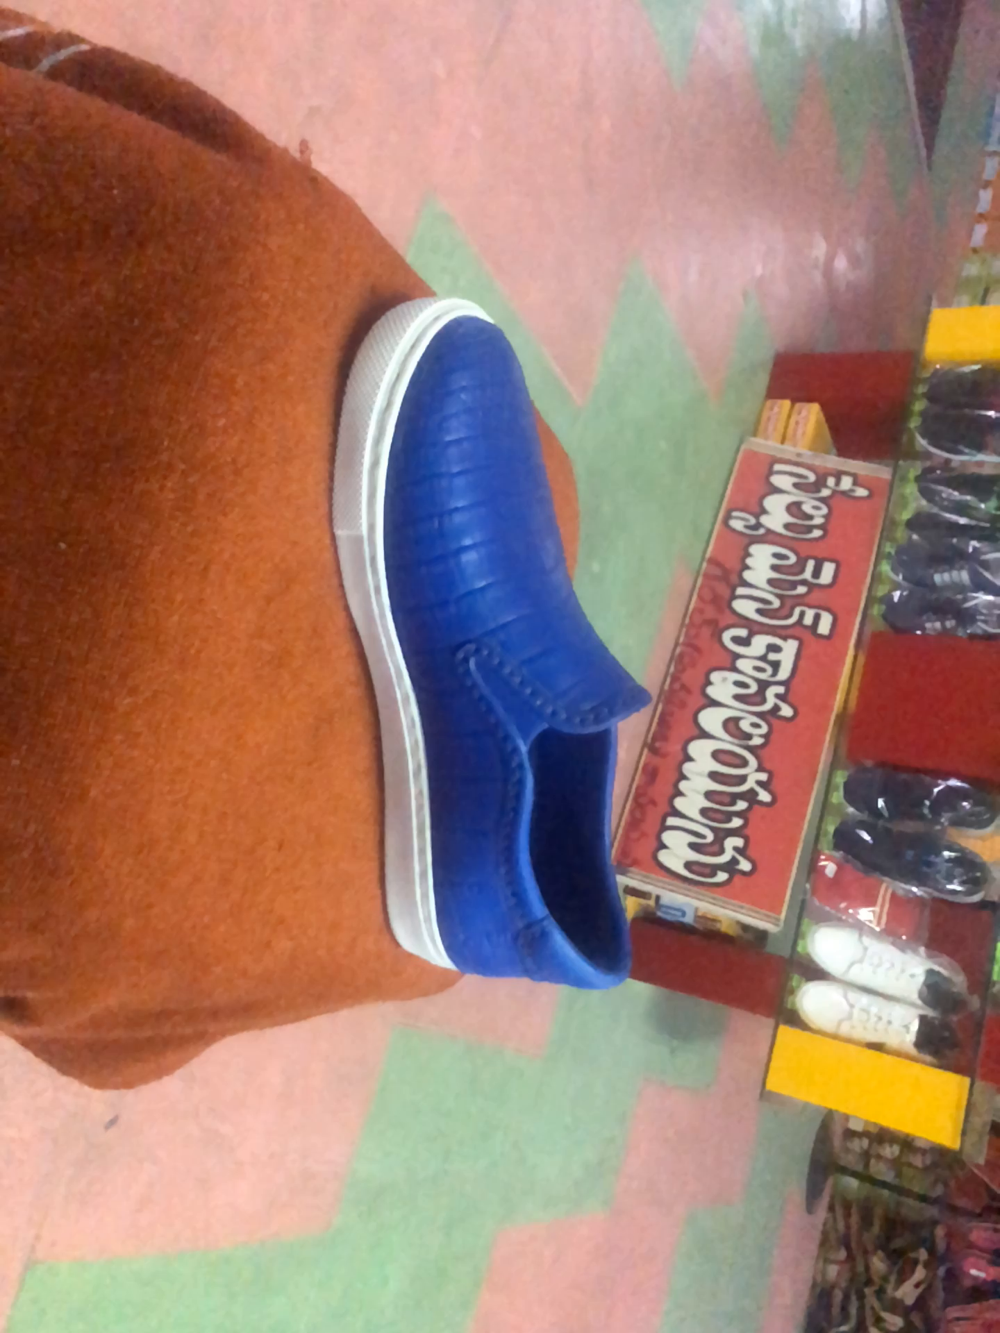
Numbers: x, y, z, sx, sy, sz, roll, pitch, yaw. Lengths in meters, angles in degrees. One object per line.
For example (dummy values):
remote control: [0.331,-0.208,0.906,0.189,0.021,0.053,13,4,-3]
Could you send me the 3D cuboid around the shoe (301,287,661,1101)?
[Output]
shoe: [0.003,0.006,0.450,0.111,0.079,0.300,-29,120,-54]
